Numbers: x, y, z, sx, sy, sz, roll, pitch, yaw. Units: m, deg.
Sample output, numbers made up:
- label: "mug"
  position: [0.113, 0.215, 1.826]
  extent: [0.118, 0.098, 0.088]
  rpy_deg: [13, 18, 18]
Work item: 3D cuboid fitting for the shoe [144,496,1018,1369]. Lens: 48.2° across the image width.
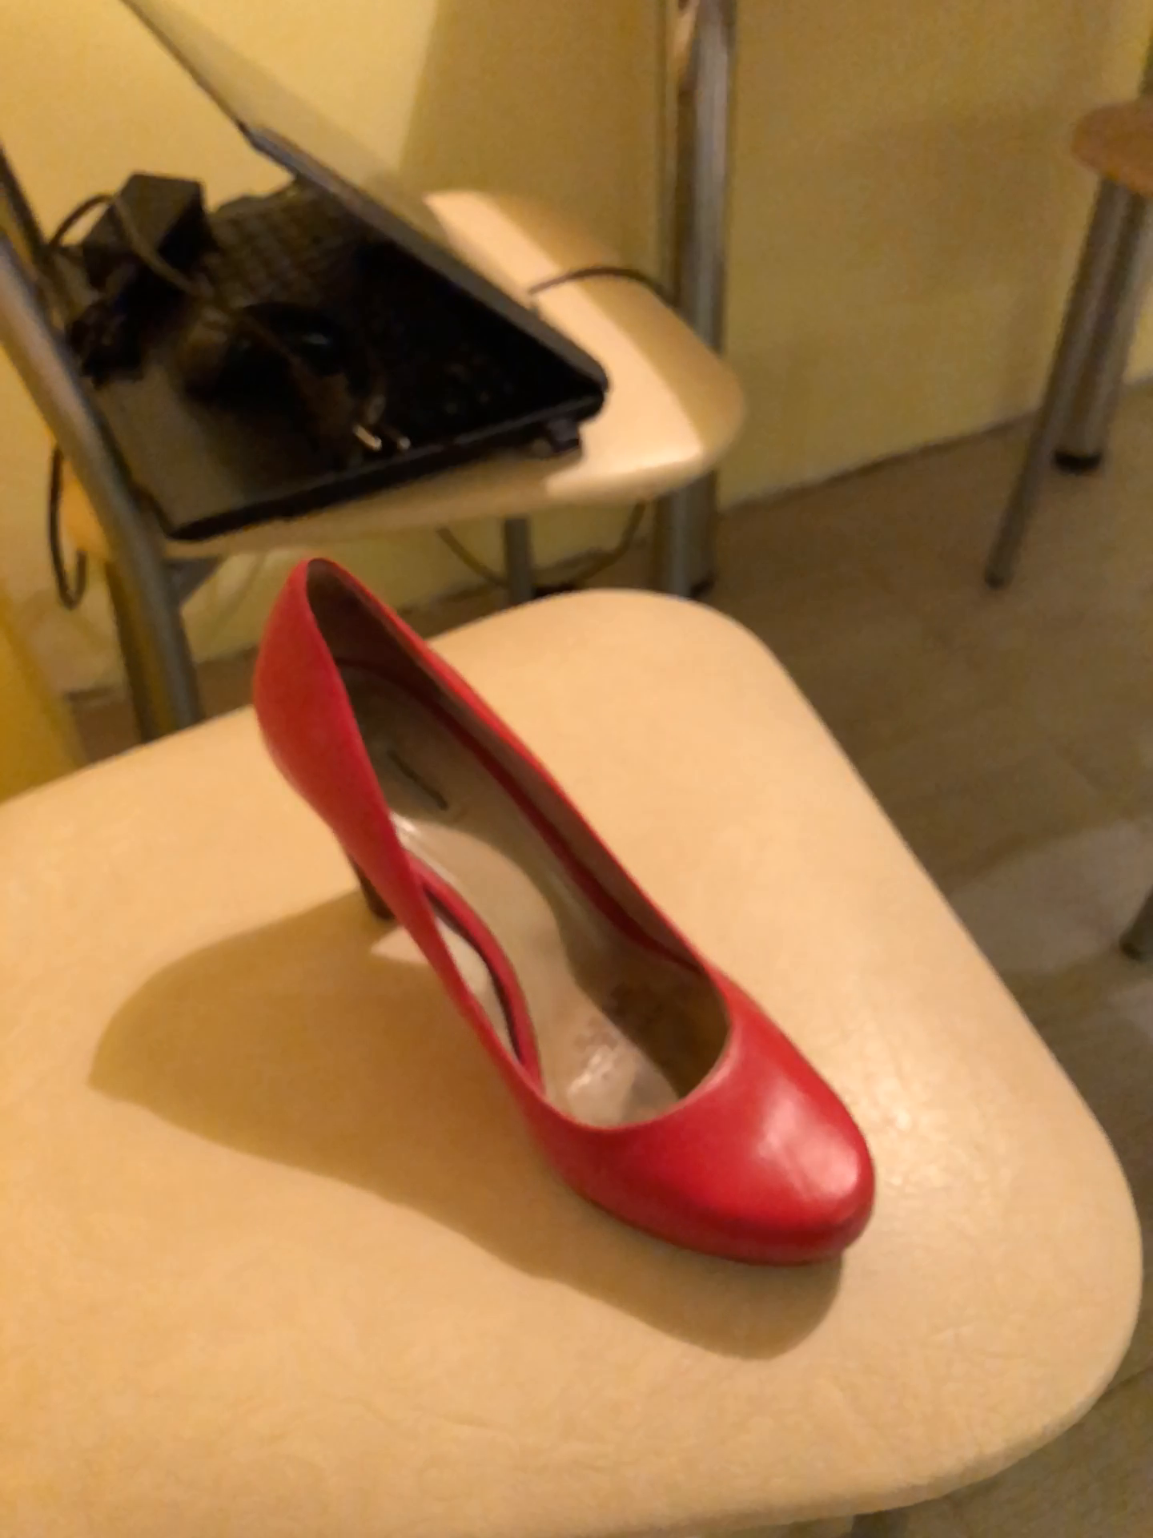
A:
- label: "shoe"
  position: [-0.010, 0.036, 0.371]
  extent: [0.230, 0.129, 0.080]
  rpy_deg: [34, 55, 30]
